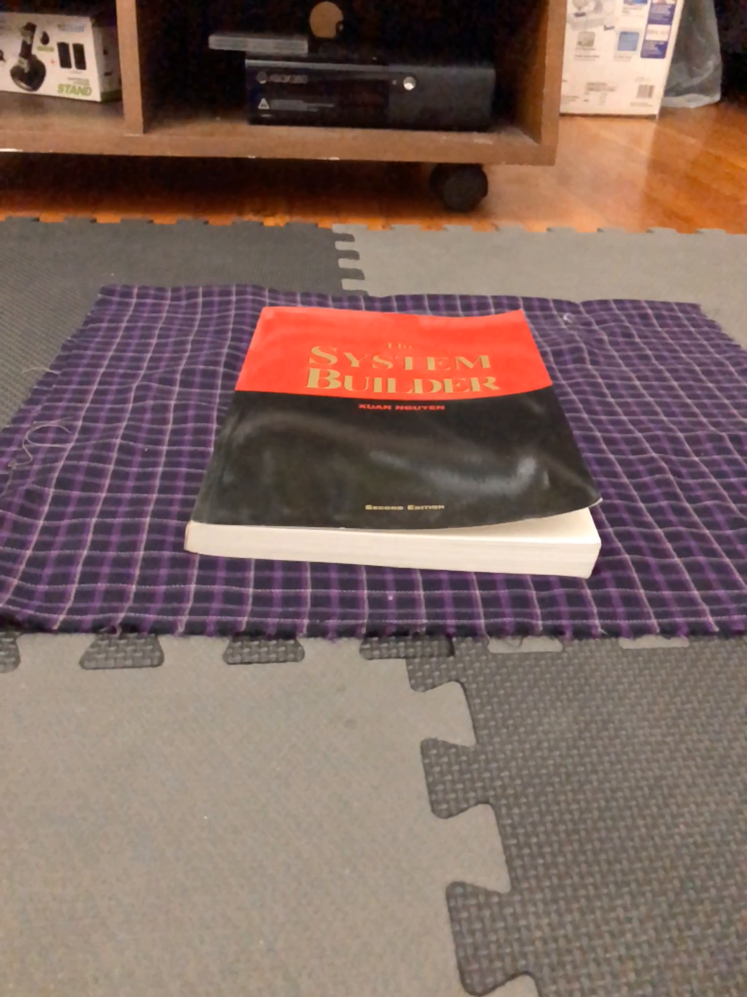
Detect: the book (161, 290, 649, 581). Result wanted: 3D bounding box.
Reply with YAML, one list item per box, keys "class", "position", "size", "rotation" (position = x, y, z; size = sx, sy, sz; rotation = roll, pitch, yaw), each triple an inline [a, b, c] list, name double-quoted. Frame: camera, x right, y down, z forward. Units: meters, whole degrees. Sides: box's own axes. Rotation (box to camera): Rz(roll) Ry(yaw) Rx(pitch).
- class: "book"
  position: [0.014, -0.052, 0.456]
  size: [0.200, 0.030, 0.262]
  rotation: [2, 33, -1]
